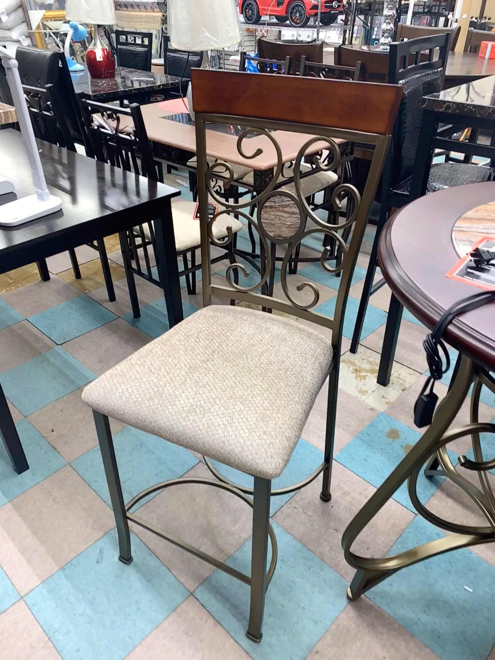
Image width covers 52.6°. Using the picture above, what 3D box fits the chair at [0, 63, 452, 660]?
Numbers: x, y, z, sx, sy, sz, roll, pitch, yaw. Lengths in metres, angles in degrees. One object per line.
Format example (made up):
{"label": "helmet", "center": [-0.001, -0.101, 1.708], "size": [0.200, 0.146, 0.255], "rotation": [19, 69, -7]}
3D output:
{"label": "chair", "center": [-0.009, 0.074, 1.086], "size": [0.511, 1.074, 0.562], "rotation": [19, 39, 25]}
